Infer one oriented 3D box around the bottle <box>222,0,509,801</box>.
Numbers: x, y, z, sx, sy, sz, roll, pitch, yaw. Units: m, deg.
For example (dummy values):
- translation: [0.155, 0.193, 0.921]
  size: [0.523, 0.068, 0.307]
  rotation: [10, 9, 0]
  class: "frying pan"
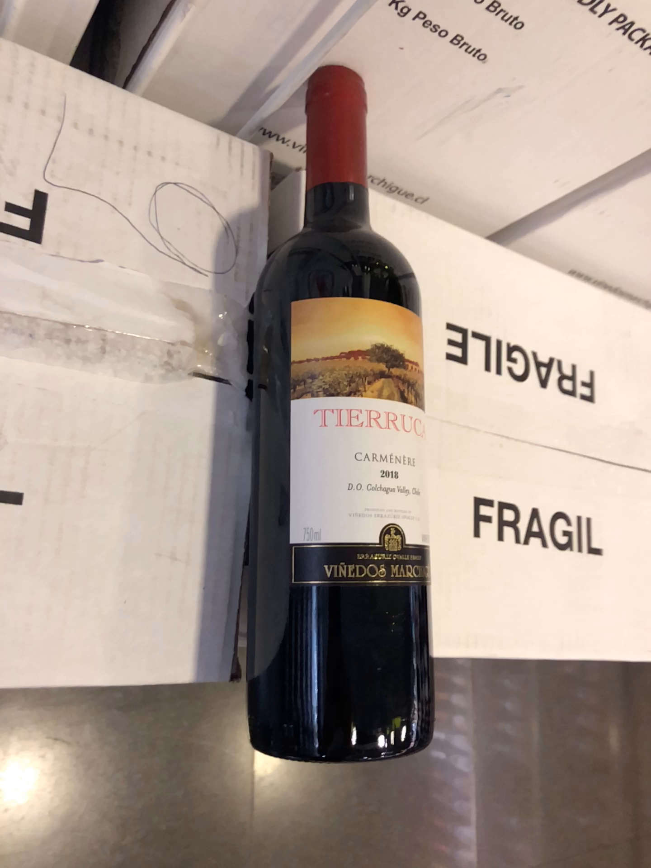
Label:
- translation: [0.014, -0.030, 0.316]
  size: [0.080, 0.080, 0.320]
  rotation: [8, 76, -33]
  class: "bottle"
